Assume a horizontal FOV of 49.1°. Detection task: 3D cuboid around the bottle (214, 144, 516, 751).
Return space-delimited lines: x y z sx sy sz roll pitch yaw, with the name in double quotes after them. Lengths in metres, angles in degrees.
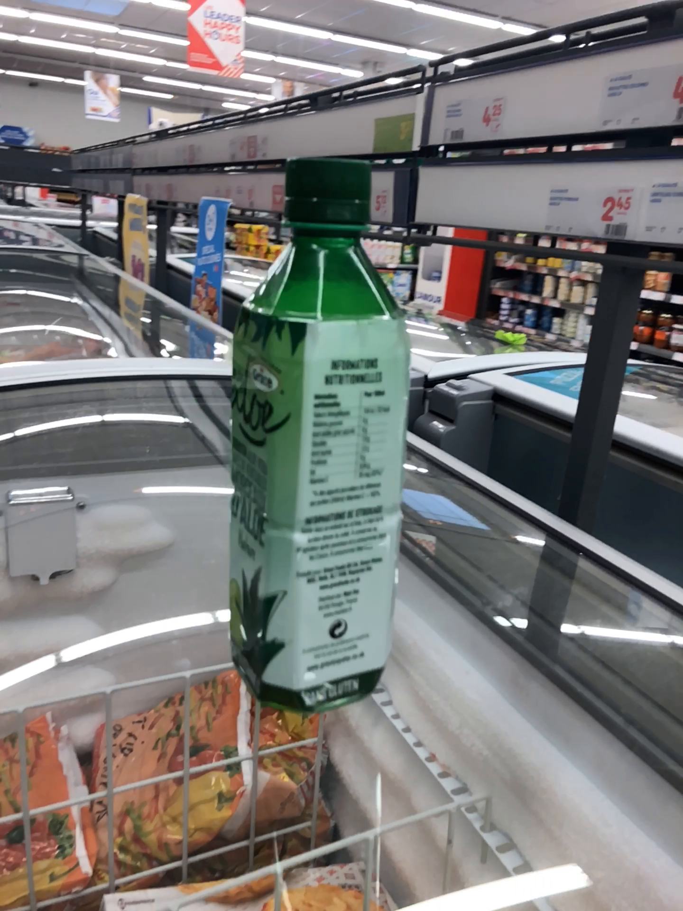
0.001 -0.004 0.281 0.070 0.199 0.070 4 17 -1 "bottle"
